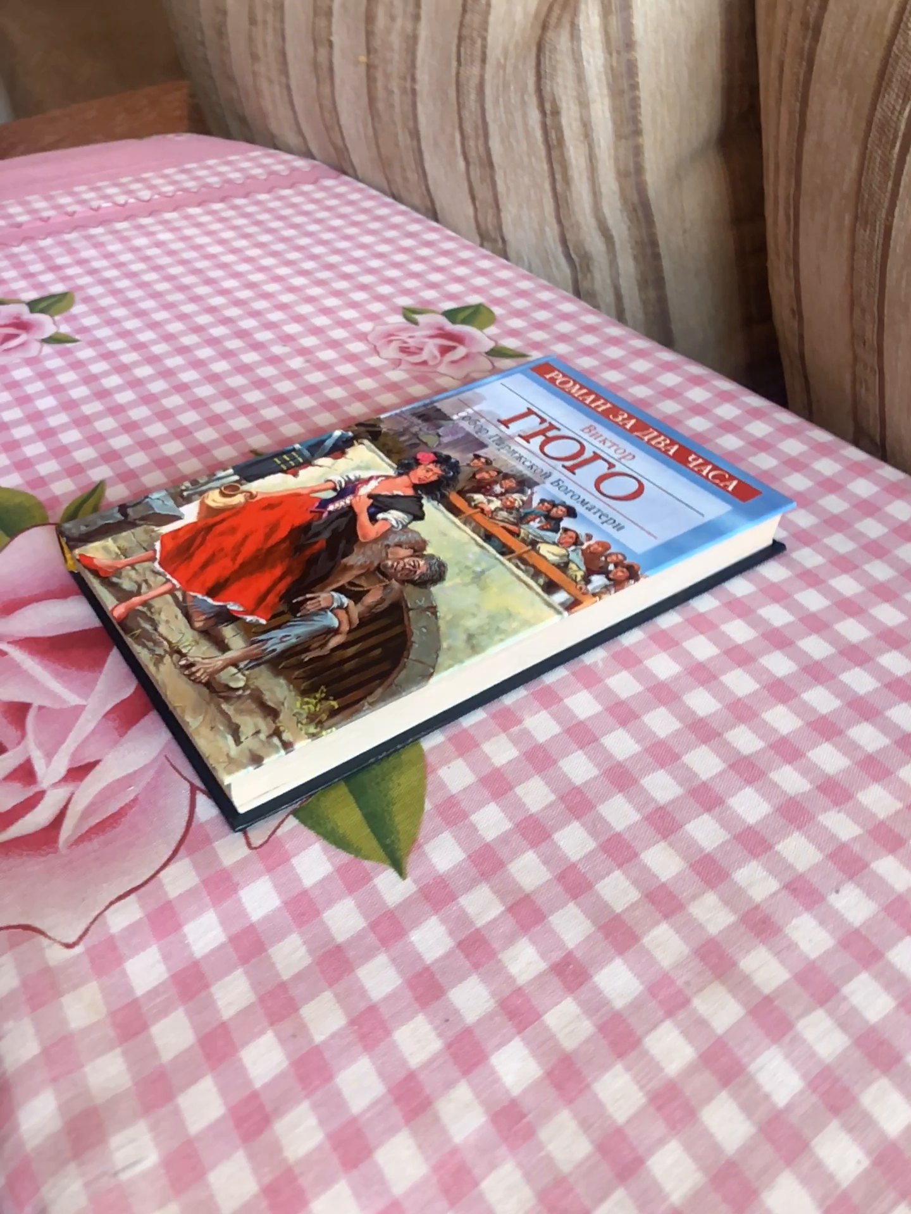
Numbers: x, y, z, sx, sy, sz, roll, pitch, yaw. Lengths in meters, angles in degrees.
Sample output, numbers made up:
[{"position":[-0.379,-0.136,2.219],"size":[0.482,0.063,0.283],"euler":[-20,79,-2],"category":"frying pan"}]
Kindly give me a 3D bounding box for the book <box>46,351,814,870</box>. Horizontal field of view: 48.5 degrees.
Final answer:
[{"position":[-0.008,-0.019,0.334],"size":[0.207,0.027,0.136],"euler":[-24,46,-25],"category":"book"}]
